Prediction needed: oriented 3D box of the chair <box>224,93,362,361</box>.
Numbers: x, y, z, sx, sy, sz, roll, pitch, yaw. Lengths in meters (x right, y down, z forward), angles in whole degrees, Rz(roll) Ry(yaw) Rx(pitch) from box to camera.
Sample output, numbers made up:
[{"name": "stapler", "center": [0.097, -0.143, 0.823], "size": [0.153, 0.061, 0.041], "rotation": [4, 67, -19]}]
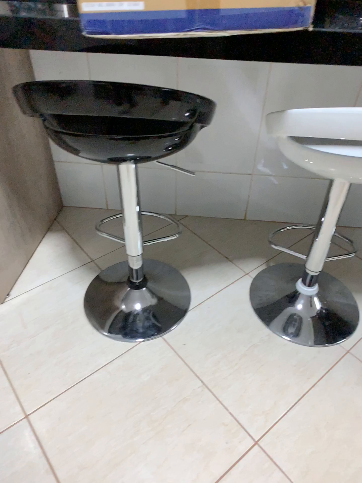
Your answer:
[{"name": "chair", "center": [0.418, -0.032, 1.086], "size": [0.510, 0.634, 0.414], "rotation": [4, 39, 2]}]

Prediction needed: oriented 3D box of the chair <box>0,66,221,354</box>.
[{"name": "chair", "center": [-0.190, -0.095, 1.218], "size": [0.570, 0.753, 0.515], "rotation": [4, 39, 2]}]
